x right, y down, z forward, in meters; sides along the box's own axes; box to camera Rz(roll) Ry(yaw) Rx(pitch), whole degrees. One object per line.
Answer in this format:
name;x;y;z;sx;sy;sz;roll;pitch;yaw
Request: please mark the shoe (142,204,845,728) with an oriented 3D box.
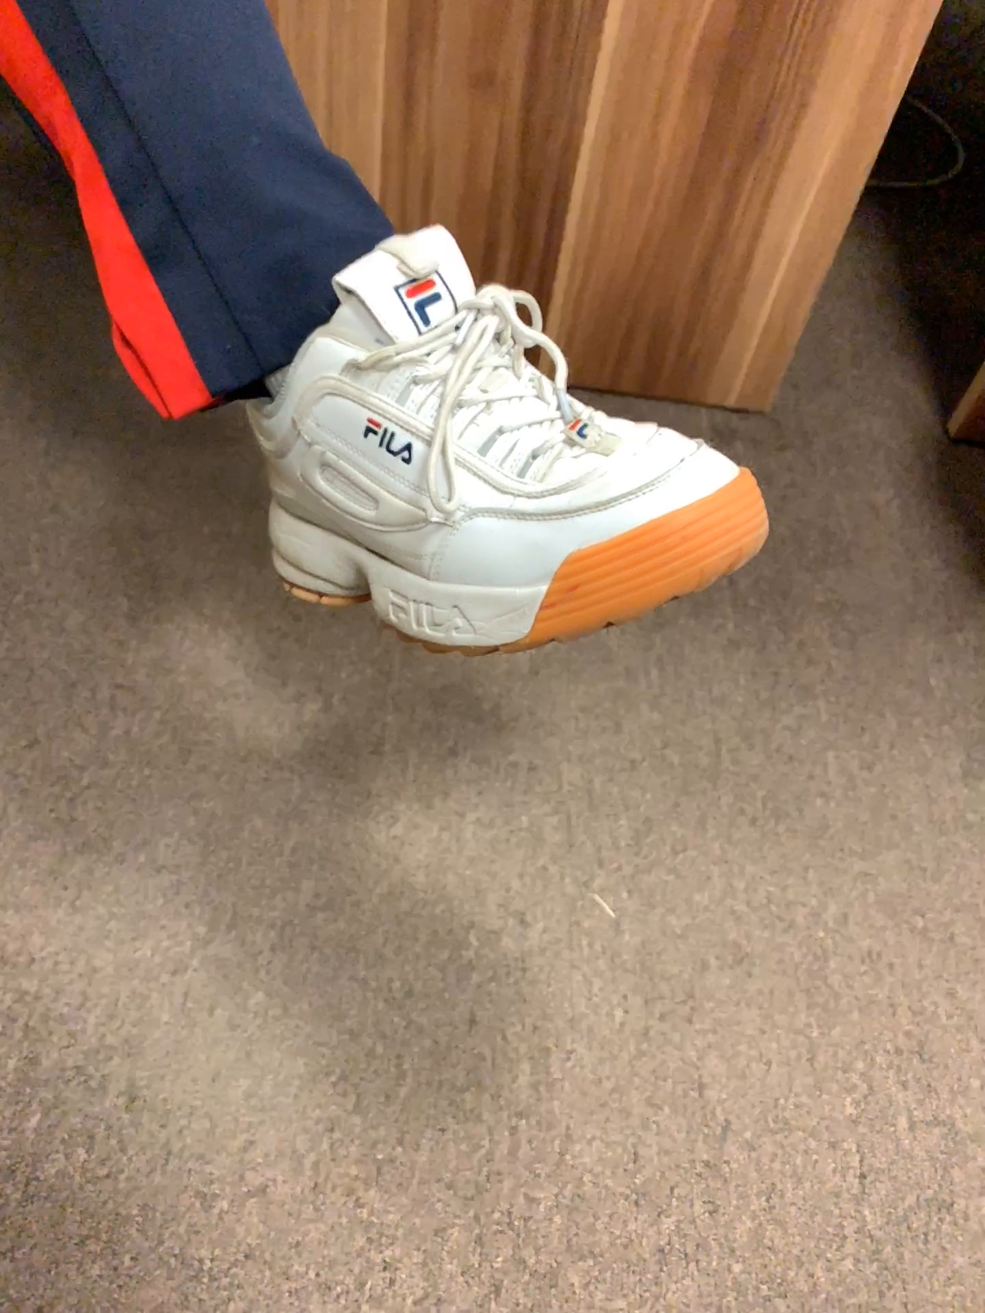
shoe;-0.006;-0.095;0.405;0.230;0.130;0.130;23;40;37
